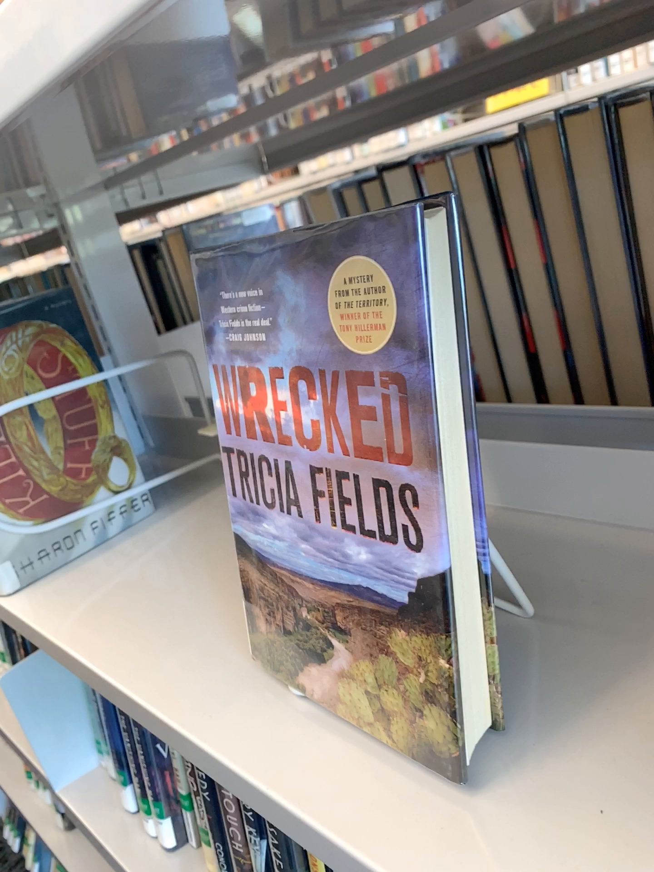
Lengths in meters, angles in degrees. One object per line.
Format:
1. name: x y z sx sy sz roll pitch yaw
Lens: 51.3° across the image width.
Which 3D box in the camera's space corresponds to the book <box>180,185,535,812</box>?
1. book: 0.006 0.020 0.289 0.034 0.214 0.151 -17 15 -37
